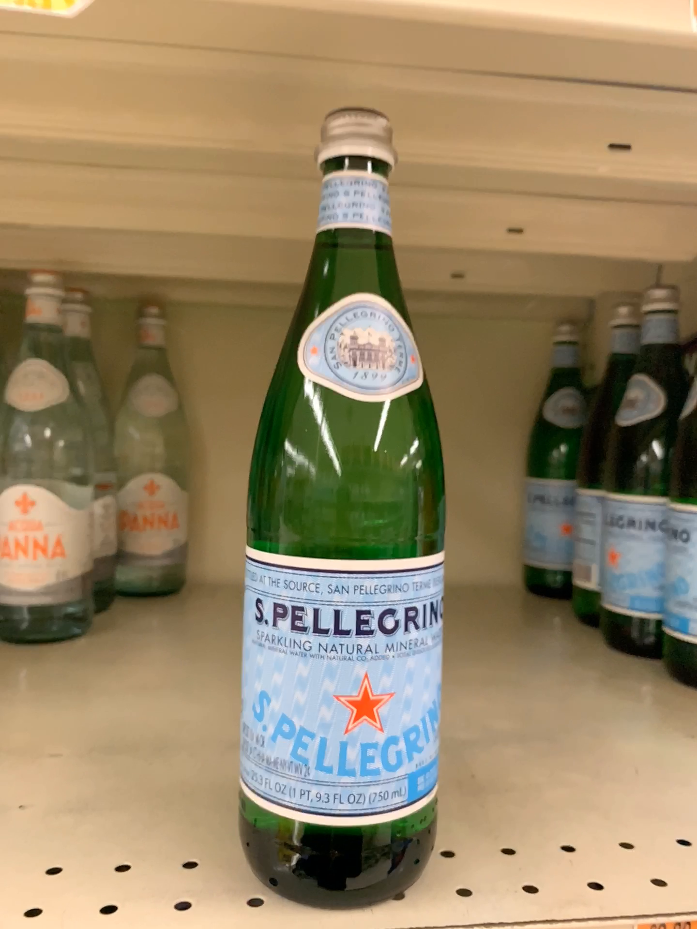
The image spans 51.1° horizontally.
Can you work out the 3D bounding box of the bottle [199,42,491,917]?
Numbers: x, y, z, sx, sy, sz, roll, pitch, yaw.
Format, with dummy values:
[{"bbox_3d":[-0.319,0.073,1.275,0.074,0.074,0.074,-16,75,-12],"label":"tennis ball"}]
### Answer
[{"bbox_3d":[-0.006,0.007,0.289,0.090,0.290,0.090,2,3,0],"label":"bottle"}]
